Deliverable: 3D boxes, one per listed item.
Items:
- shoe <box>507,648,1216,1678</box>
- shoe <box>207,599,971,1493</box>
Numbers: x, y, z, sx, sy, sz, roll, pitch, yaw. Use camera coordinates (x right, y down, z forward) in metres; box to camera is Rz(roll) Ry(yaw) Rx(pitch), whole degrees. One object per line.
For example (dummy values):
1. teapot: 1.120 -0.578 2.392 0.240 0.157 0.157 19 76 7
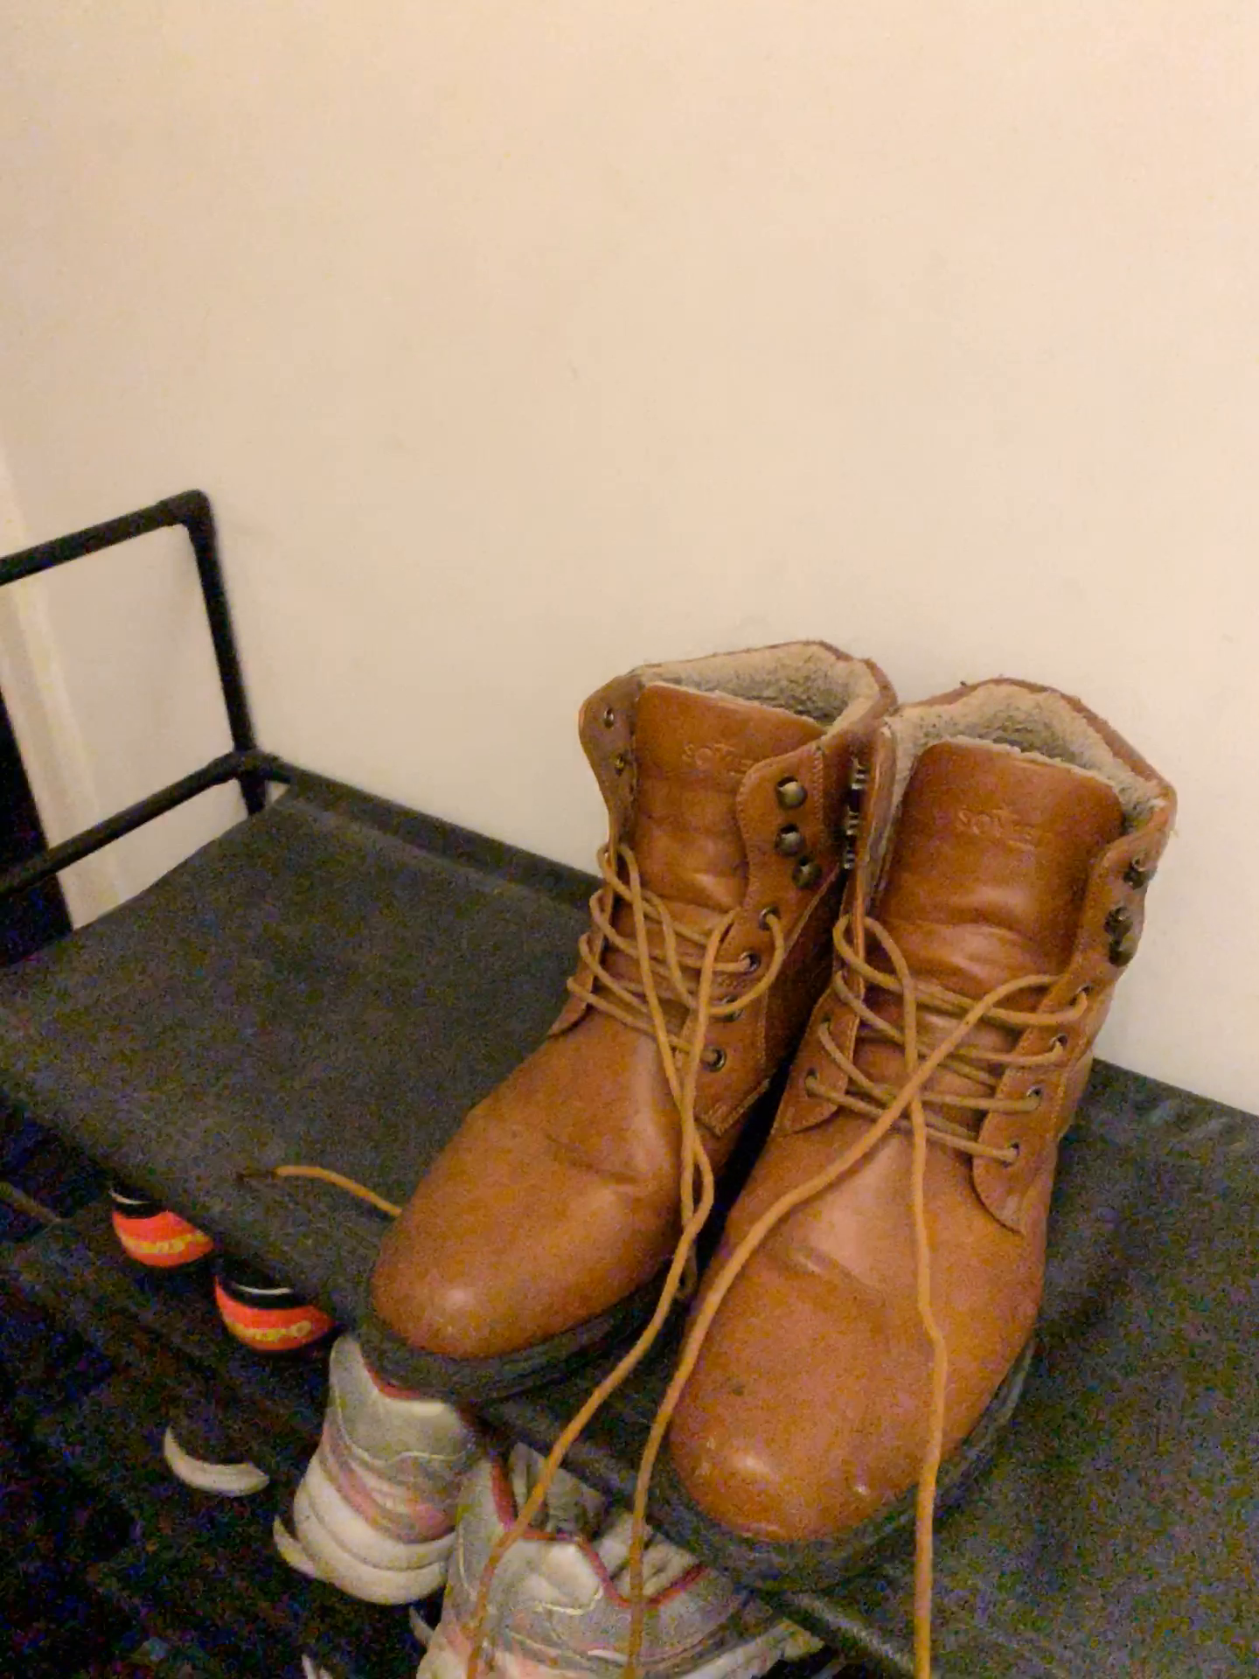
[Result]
1. shoe: 0.085 0.084 0.417 0.110 0.198 0.242 17 36 28
2. shoe: 0.006 0.056 0.494 0.110 0.198 0.272 22 39 34
